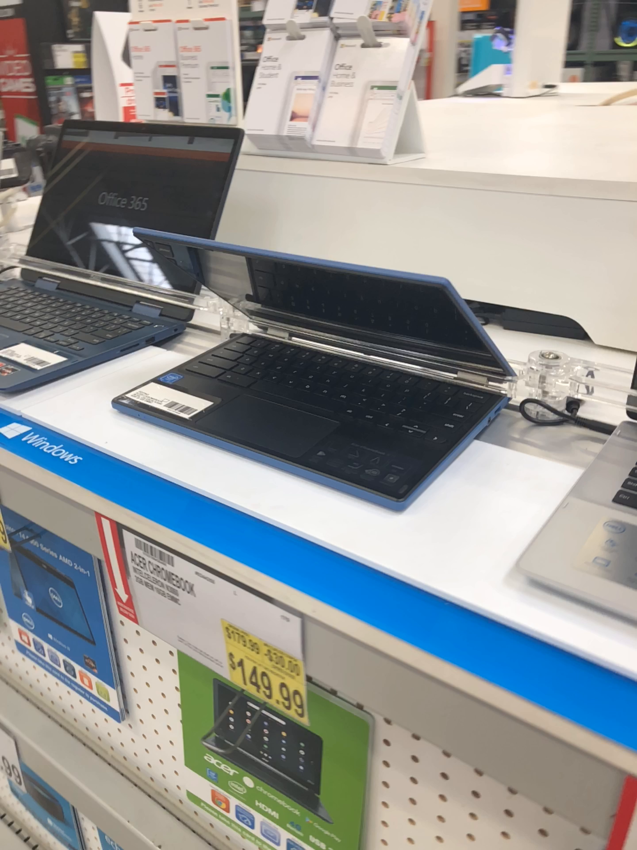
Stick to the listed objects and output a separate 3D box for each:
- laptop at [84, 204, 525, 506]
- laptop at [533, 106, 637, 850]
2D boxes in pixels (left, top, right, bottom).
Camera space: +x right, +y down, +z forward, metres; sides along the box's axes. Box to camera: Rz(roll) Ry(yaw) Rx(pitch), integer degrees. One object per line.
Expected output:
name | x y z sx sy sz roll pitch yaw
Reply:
laptop | -0.011 -0.079 0.562 0.280 0.128 0.184 17 34 30
laptop | 0.328 -0.015 0.325 0.355 0.216 0.246 18 34 33
